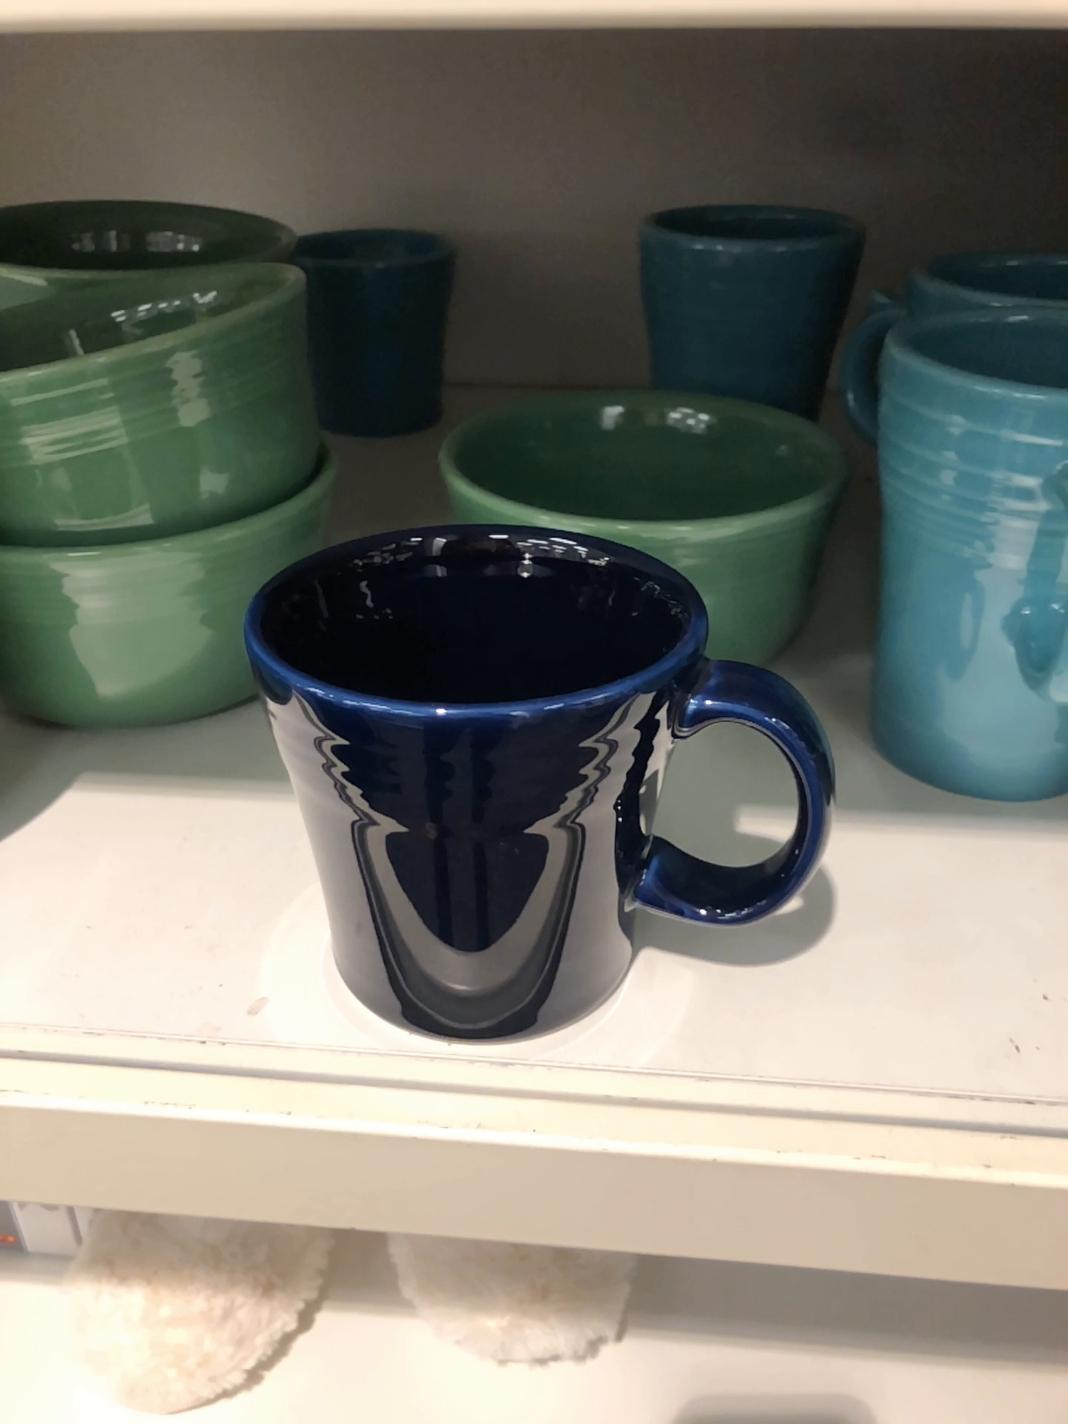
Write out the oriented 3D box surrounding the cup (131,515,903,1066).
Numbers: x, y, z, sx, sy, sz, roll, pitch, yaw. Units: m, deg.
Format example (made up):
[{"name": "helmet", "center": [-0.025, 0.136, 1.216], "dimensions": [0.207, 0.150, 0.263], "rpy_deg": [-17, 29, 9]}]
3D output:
[{"name": "cup", "center": [0.001, 0.012, 0.280], "dimensions": [0.143, 0.085, 0.094], "rpy_deg": [2, 32, 7]}]
